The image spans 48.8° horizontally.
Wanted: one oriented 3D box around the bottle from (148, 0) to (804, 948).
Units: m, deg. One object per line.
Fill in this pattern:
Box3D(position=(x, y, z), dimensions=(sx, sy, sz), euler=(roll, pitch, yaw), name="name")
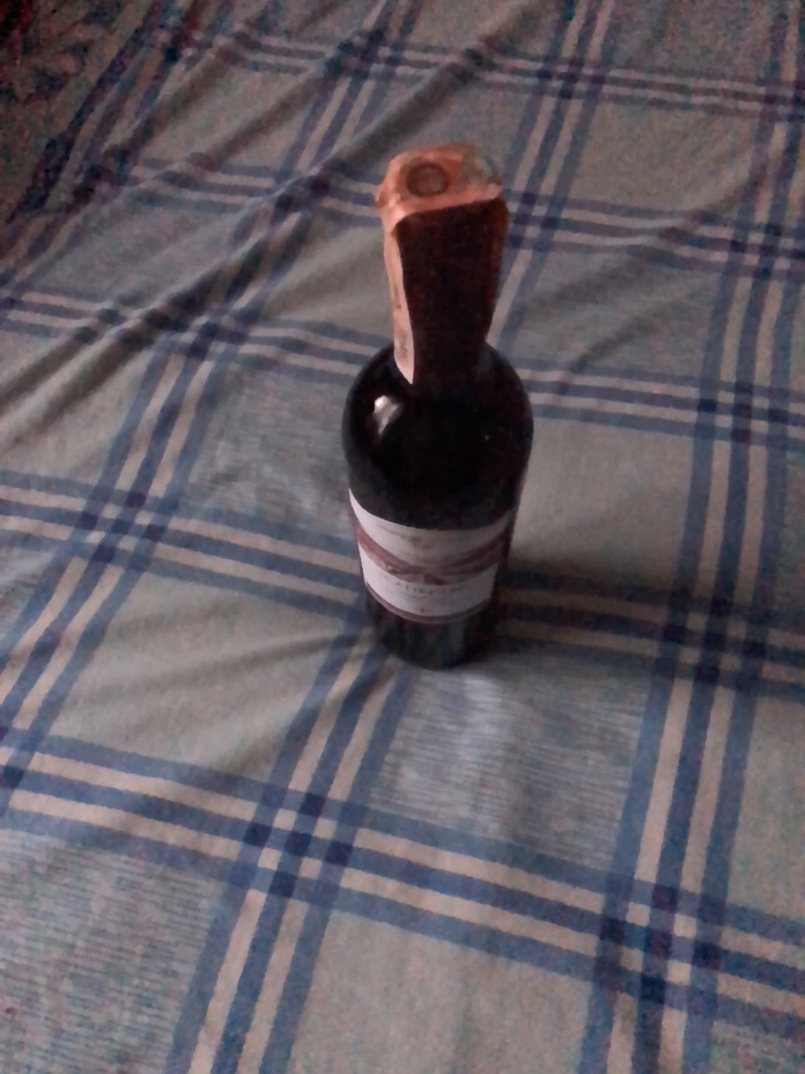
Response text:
Box3D(position=(0.032, 0.035, 0.236), dimensions=(0.081, 0.305, 0.071), euler=(36, 68, 21), name="bottle")
